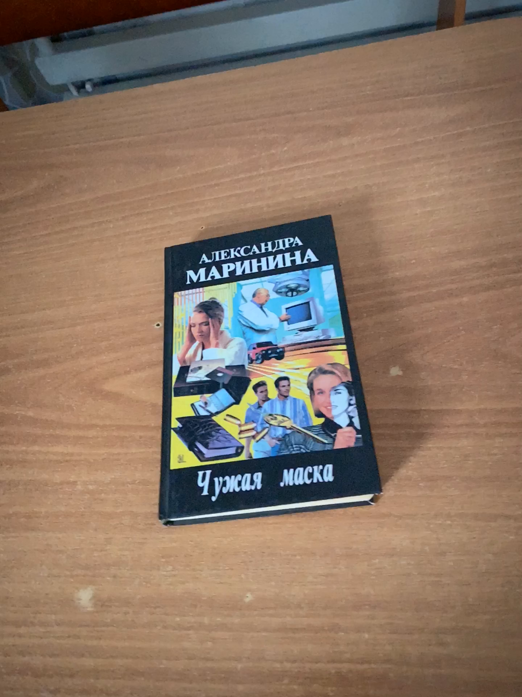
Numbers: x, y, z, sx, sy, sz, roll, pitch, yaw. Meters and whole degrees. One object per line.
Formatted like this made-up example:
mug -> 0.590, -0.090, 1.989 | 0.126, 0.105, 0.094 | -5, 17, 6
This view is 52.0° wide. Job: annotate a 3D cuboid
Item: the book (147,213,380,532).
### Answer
book -> -0.004, 0.008, 0.355 | 0.130, 0.030, 0.201 | -9, 60, 9
